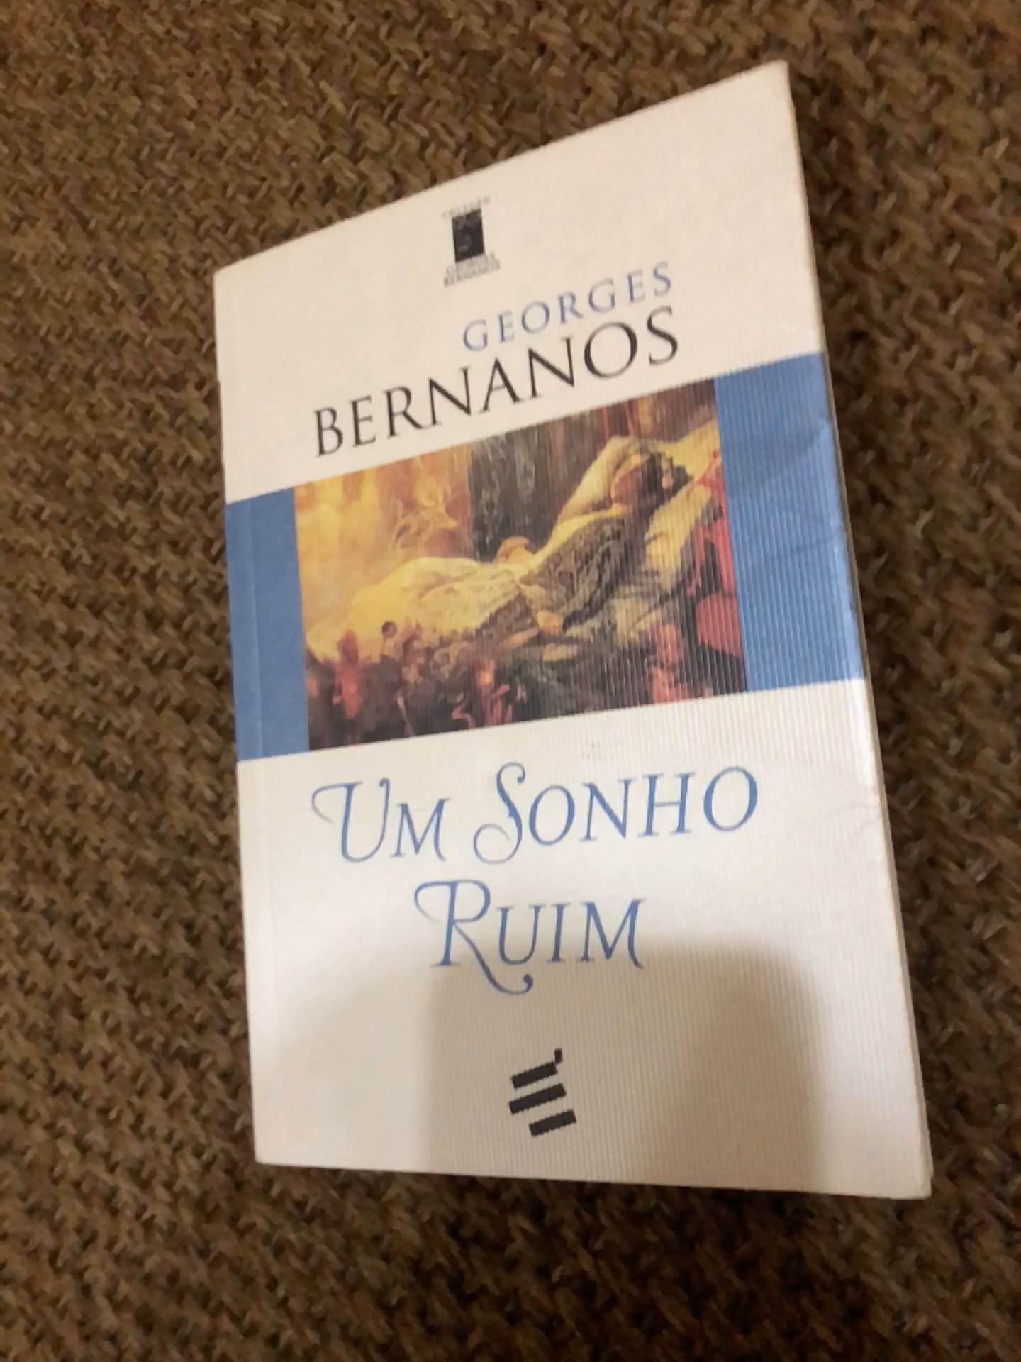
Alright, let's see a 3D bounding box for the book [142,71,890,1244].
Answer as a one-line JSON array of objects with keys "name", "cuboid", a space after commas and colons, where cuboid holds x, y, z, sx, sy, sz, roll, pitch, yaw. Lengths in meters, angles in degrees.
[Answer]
[{"name": "book", "cuboid": [-0.011, -0.001, 0.230, 0.140, 0.020, 0.199, -9, 80, 26]}]
